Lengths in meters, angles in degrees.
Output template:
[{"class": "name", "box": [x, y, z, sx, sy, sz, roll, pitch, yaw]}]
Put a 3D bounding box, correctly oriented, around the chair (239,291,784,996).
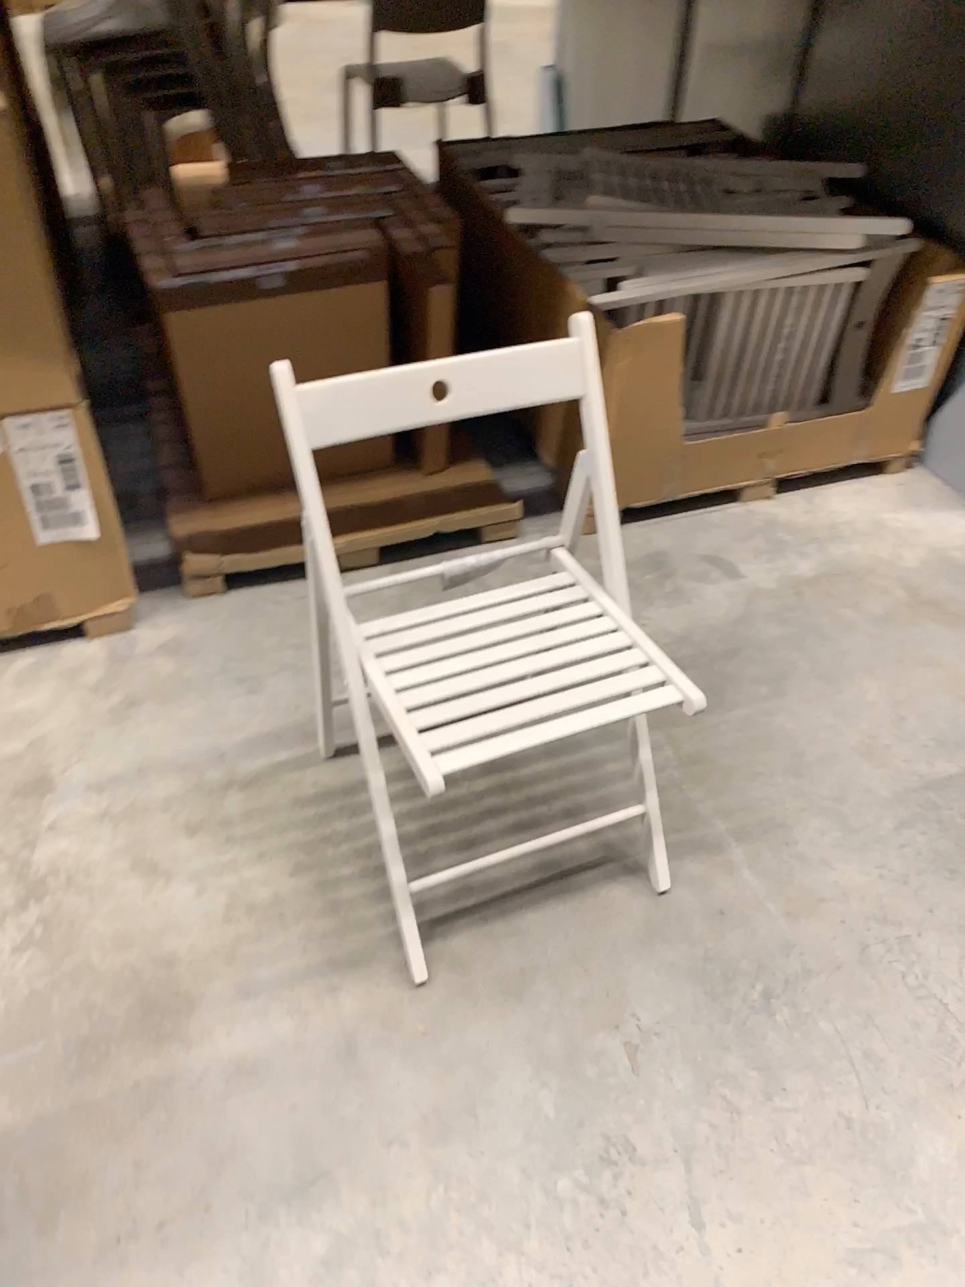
[{"class": "chair", "box": [-0.004, 0.006, 1.289, 0.430, 0.707, 0.472, -14, 45, -17]}]
